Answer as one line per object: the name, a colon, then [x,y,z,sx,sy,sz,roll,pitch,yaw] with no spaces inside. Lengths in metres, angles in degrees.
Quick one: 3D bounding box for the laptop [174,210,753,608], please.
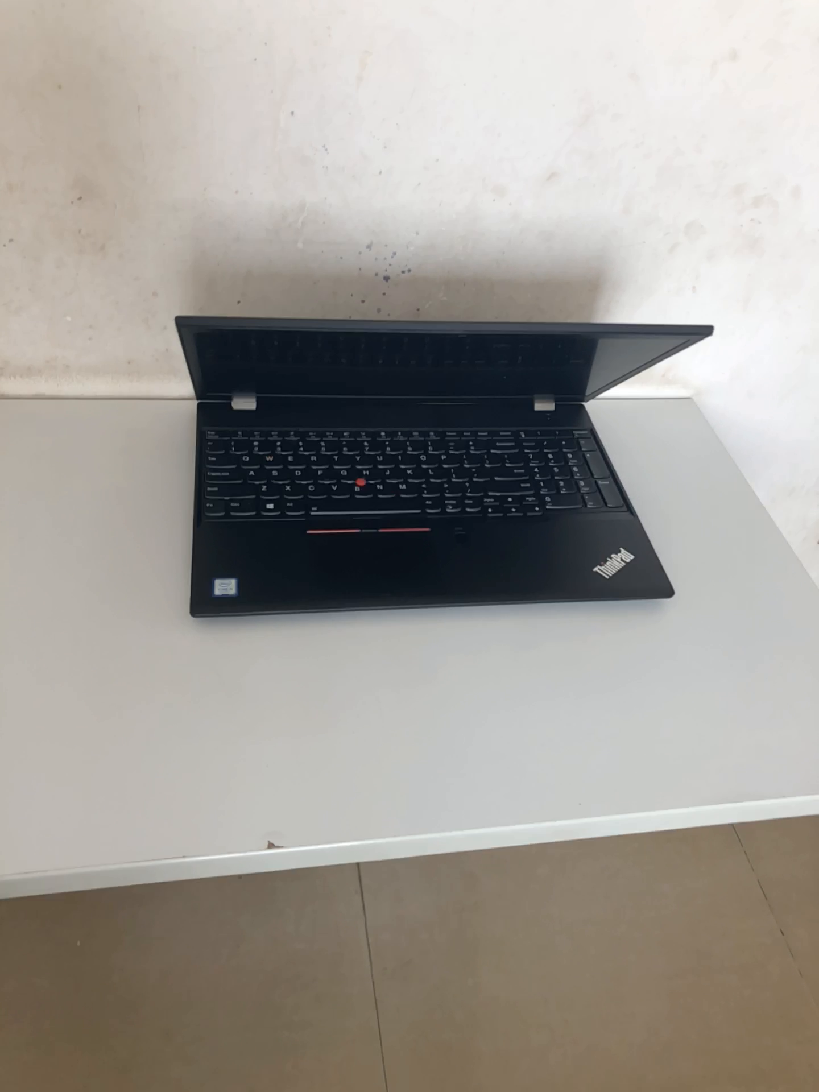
laptop: [0.013,-0.107,0.666,0.347,0.173,0.235,-1,45,-9]
